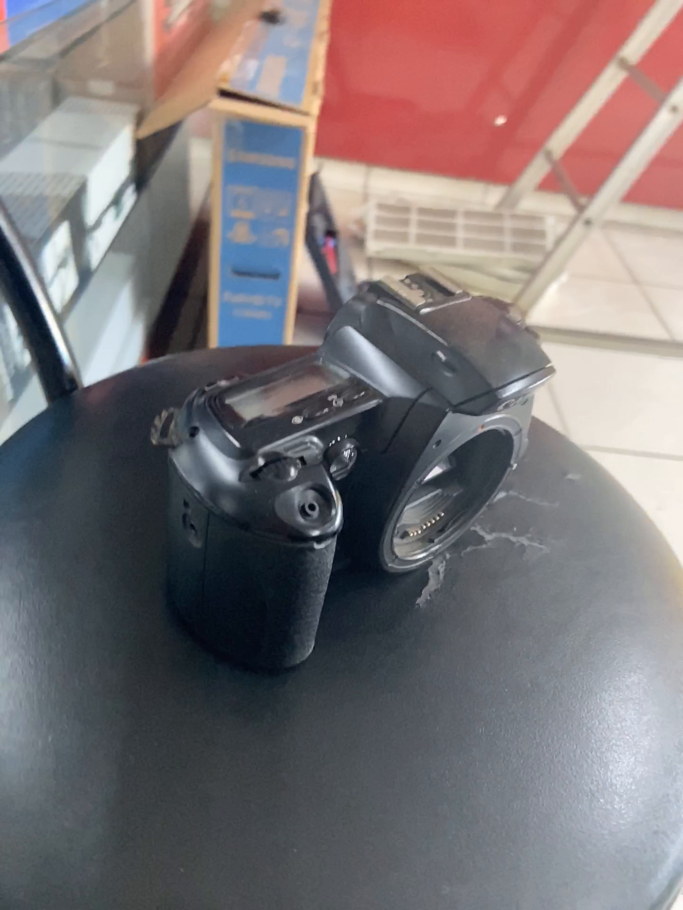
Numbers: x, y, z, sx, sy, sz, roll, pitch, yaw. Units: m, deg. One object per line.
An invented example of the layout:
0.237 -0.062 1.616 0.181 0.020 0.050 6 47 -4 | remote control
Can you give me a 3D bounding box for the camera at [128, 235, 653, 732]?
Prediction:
0.016 -0.001 0.227 0.141 0.089 0.070 -25 52 -35 | camera
